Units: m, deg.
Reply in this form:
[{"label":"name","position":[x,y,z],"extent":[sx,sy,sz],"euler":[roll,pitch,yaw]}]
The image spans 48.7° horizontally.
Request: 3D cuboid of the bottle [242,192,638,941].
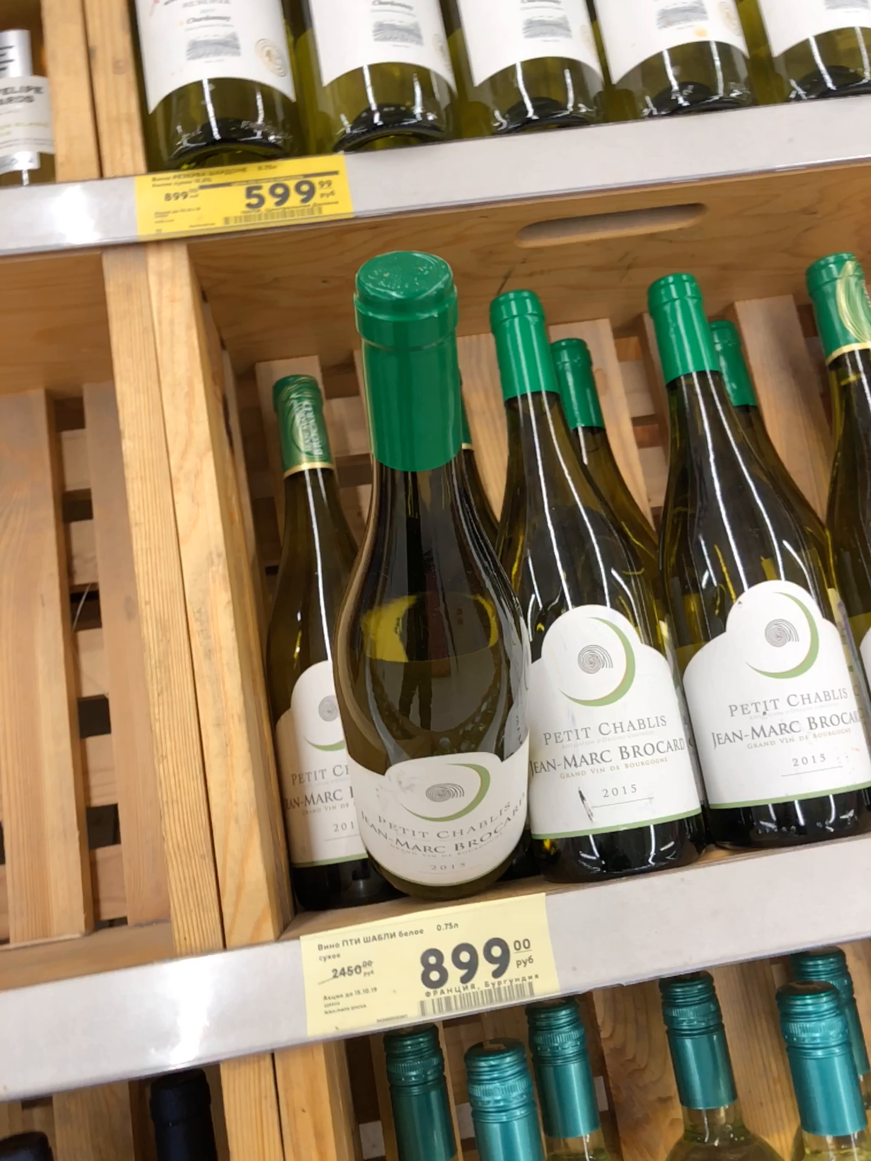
[{"label":"bottle","position":[0.001,0.022,0.353],"extent":[0.090,0.289,0.090],"euler":[-1,46,1]}]
